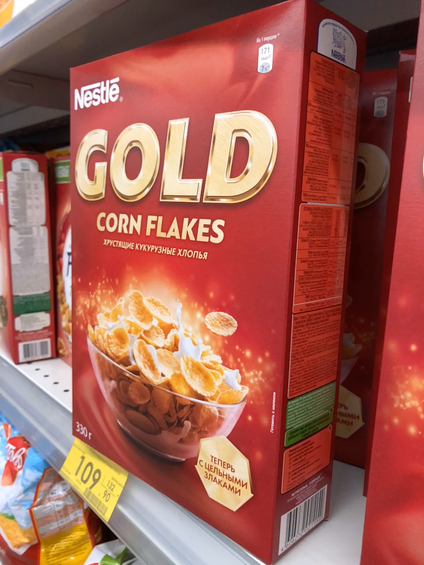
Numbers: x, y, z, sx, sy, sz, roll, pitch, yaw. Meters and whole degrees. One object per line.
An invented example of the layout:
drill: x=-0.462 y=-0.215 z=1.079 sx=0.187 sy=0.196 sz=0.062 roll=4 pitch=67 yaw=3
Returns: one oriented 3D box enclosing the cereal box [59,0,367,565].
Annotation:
cereal box: x=-0.019 y=-0.007 z=0.305 sx=0.200 sy=0.279 sz=0.060 roll=10 pitch=11 yaw=43
